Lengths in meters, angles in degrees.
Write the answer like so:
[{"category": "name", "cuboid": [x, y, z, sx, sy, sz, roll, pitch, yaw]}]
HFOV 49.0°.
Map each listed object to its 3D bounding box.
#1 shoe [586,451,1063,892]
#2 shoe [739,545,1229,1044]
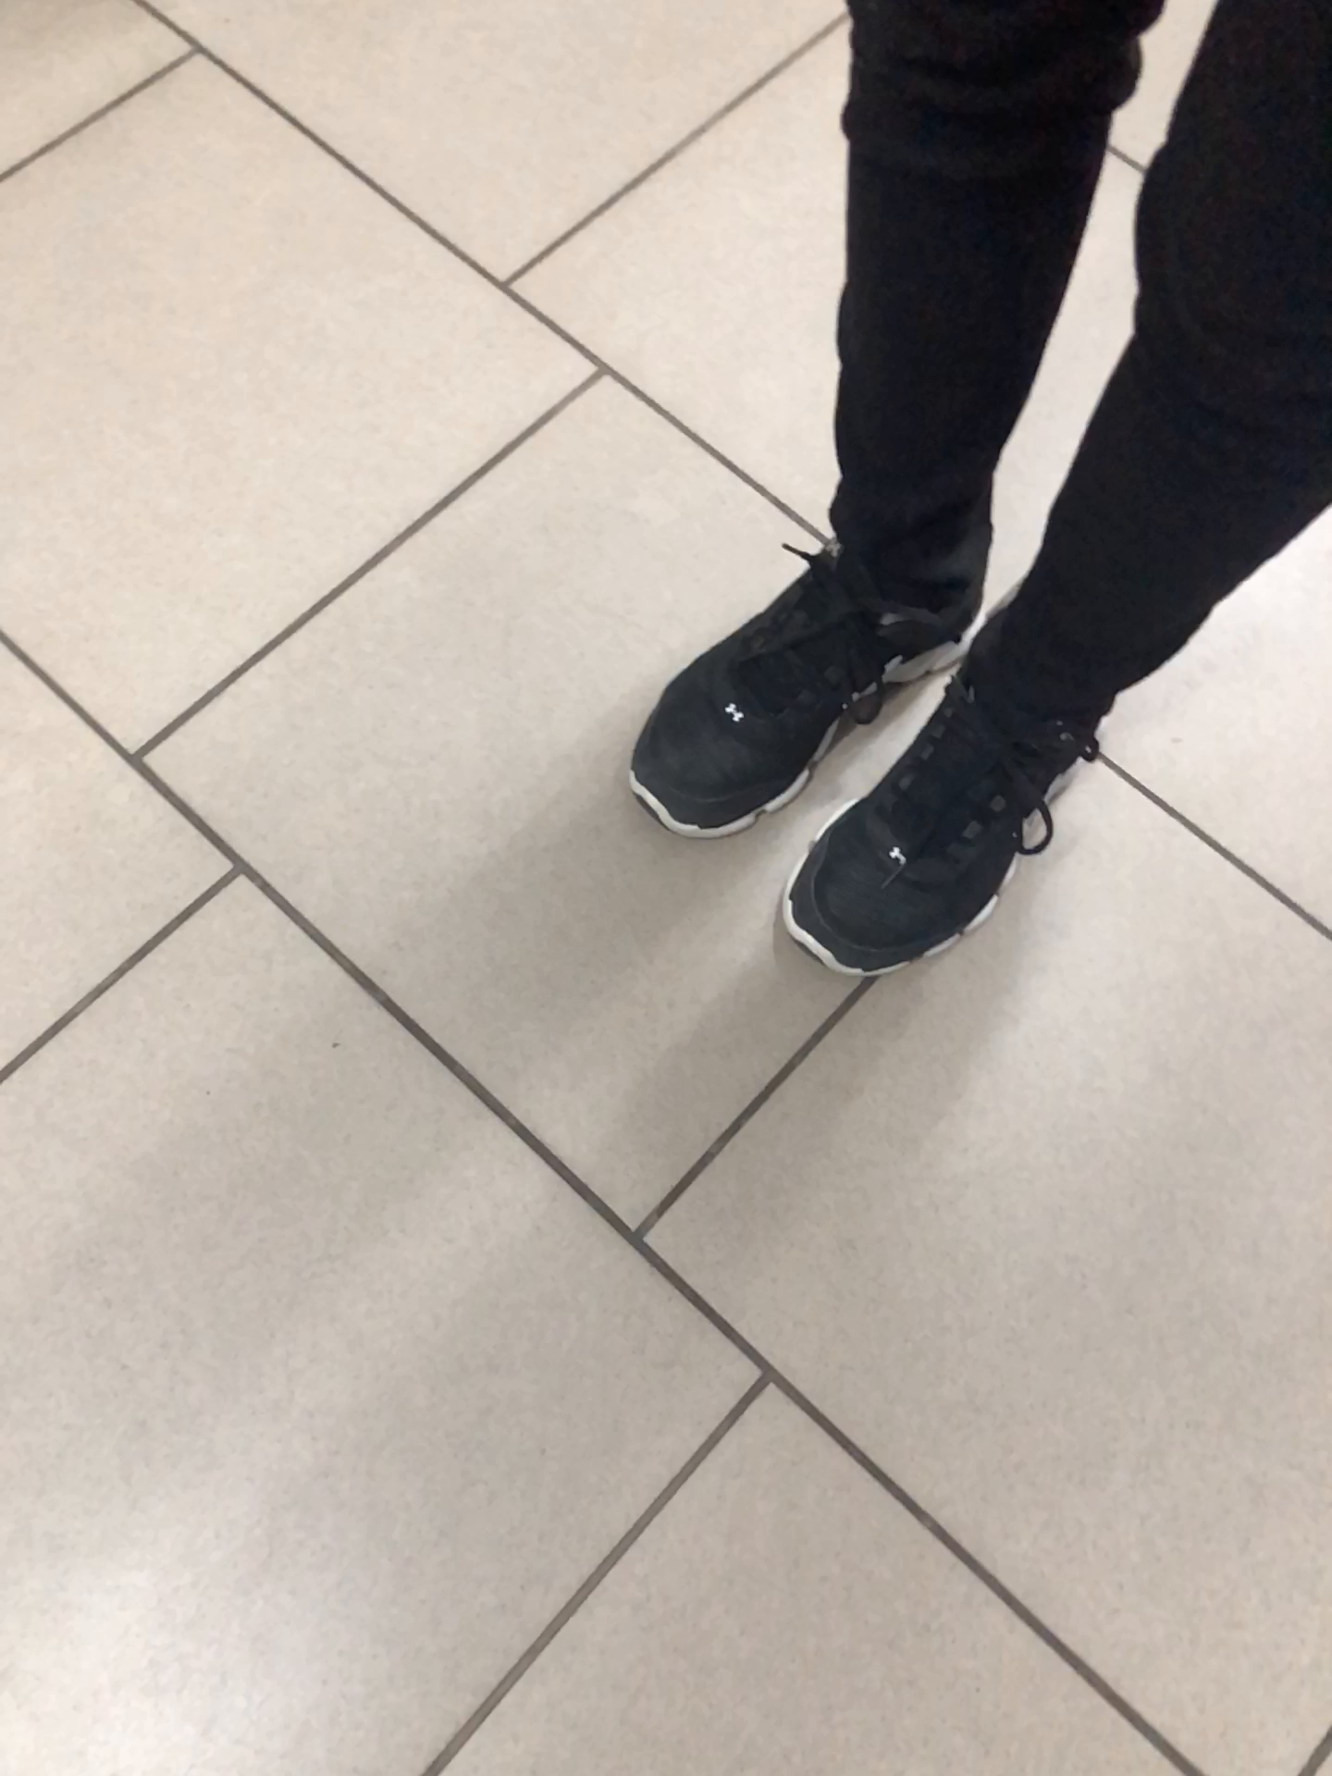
[{"category": "shoe", "cuboid": [0.090, -0.129, 0.862, 0.260, 0.090, 0.110, -36, 74, -15]}, {"category": "shoe", "cuboid": [0.177, -0.054, 0.826, 0.110, 0.090, 0.270, 42, 73, 13]}]
